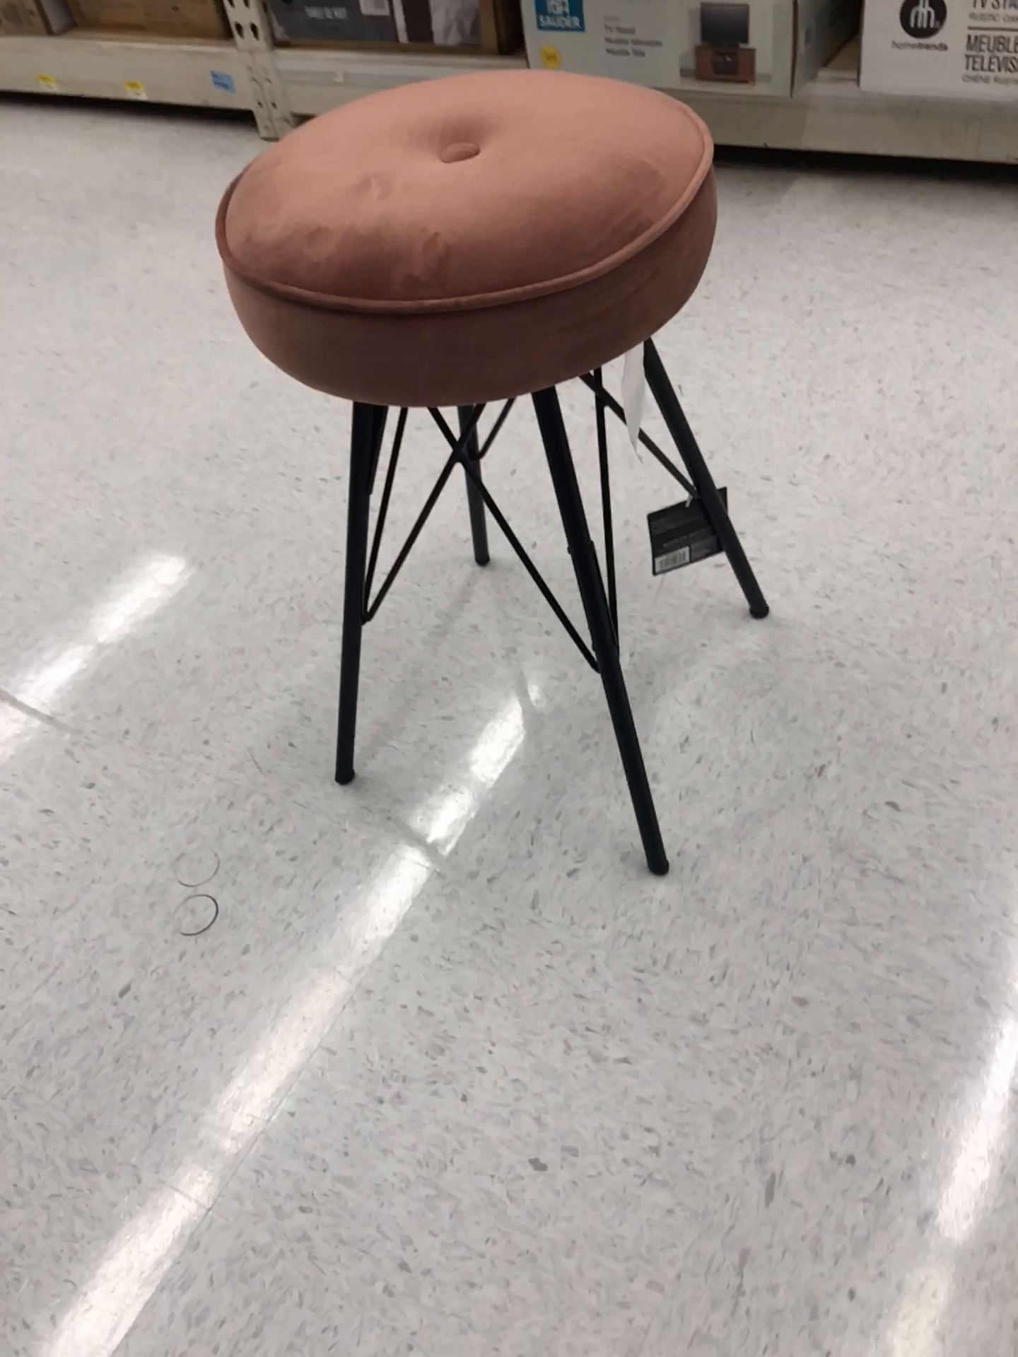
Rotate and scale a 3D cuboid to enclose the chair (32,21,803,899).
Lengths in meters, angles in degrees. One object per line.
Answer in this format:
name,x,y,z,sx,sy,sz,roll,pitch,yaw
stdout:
chair,-0.004,-0.160,0.861,0.350,0.498,0.361,13,52,23
